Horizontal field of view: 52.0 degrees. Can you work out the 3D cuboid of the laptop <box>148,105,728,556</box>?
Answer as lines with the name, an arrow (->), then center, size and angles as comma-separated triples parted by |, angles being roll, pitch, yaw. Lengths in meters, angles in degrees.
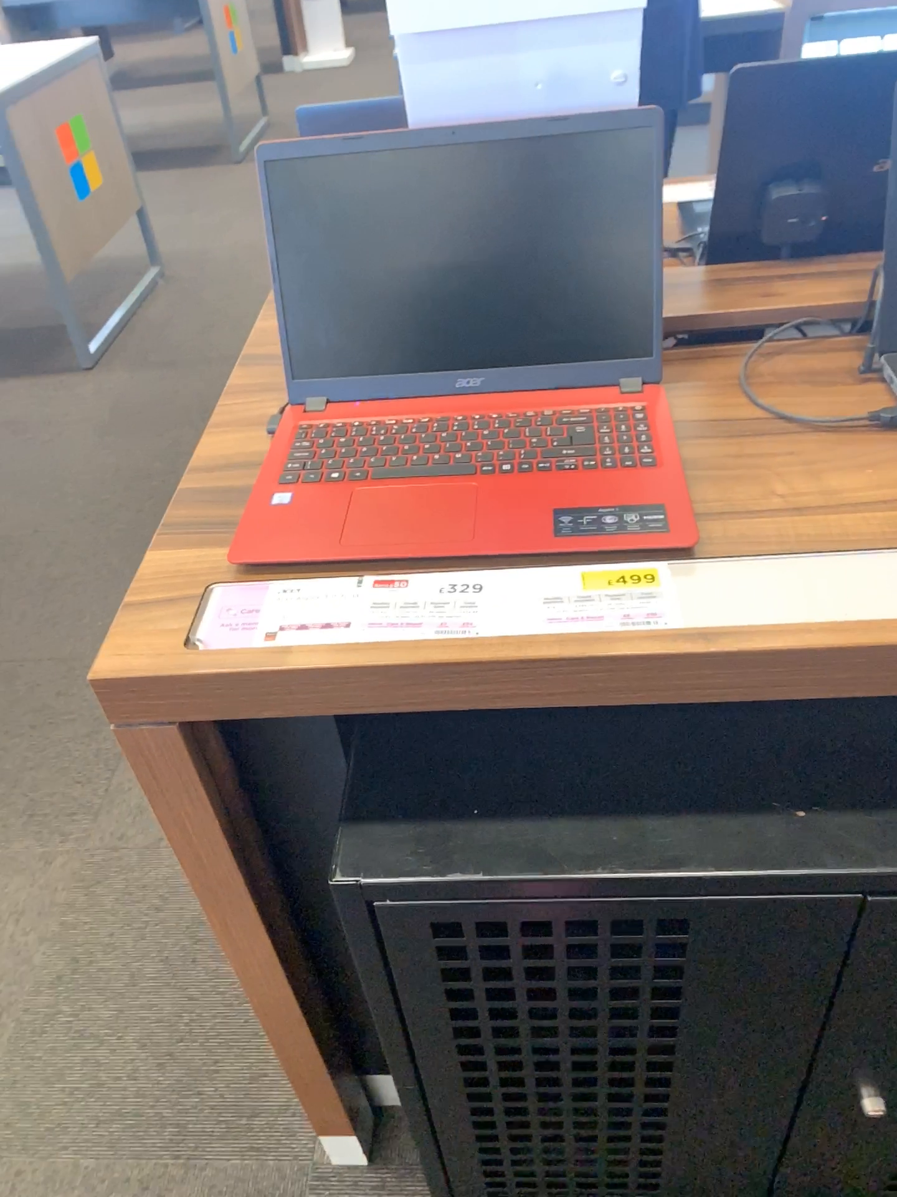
laptop -> 0.007, -0.227, 0.751 | 0.356, 0.213, 0.324 | -2, 40, 6
